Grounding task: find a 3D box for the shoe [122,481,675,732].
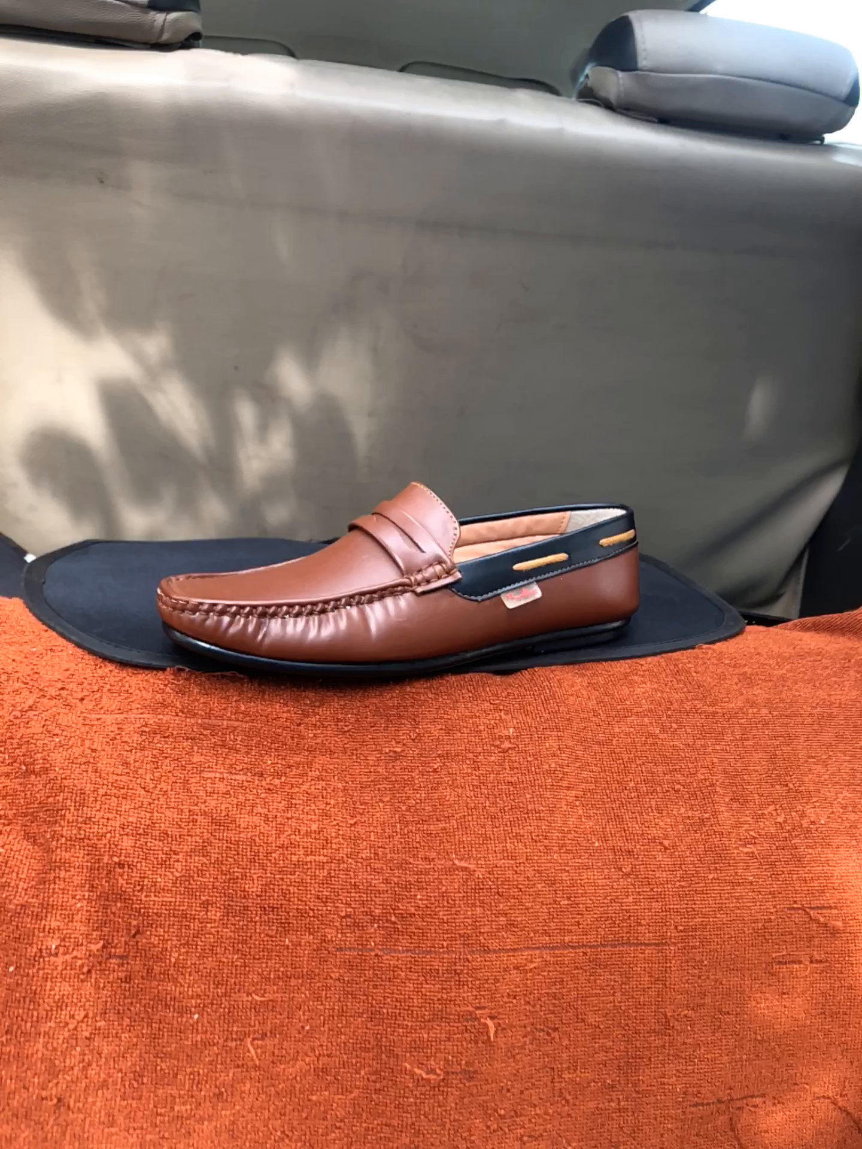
[{"bbox_3d":[-0.011,0.004,0.525,0.281,0.070,0.110,-9,19,-29],"label":"shoe"}]
